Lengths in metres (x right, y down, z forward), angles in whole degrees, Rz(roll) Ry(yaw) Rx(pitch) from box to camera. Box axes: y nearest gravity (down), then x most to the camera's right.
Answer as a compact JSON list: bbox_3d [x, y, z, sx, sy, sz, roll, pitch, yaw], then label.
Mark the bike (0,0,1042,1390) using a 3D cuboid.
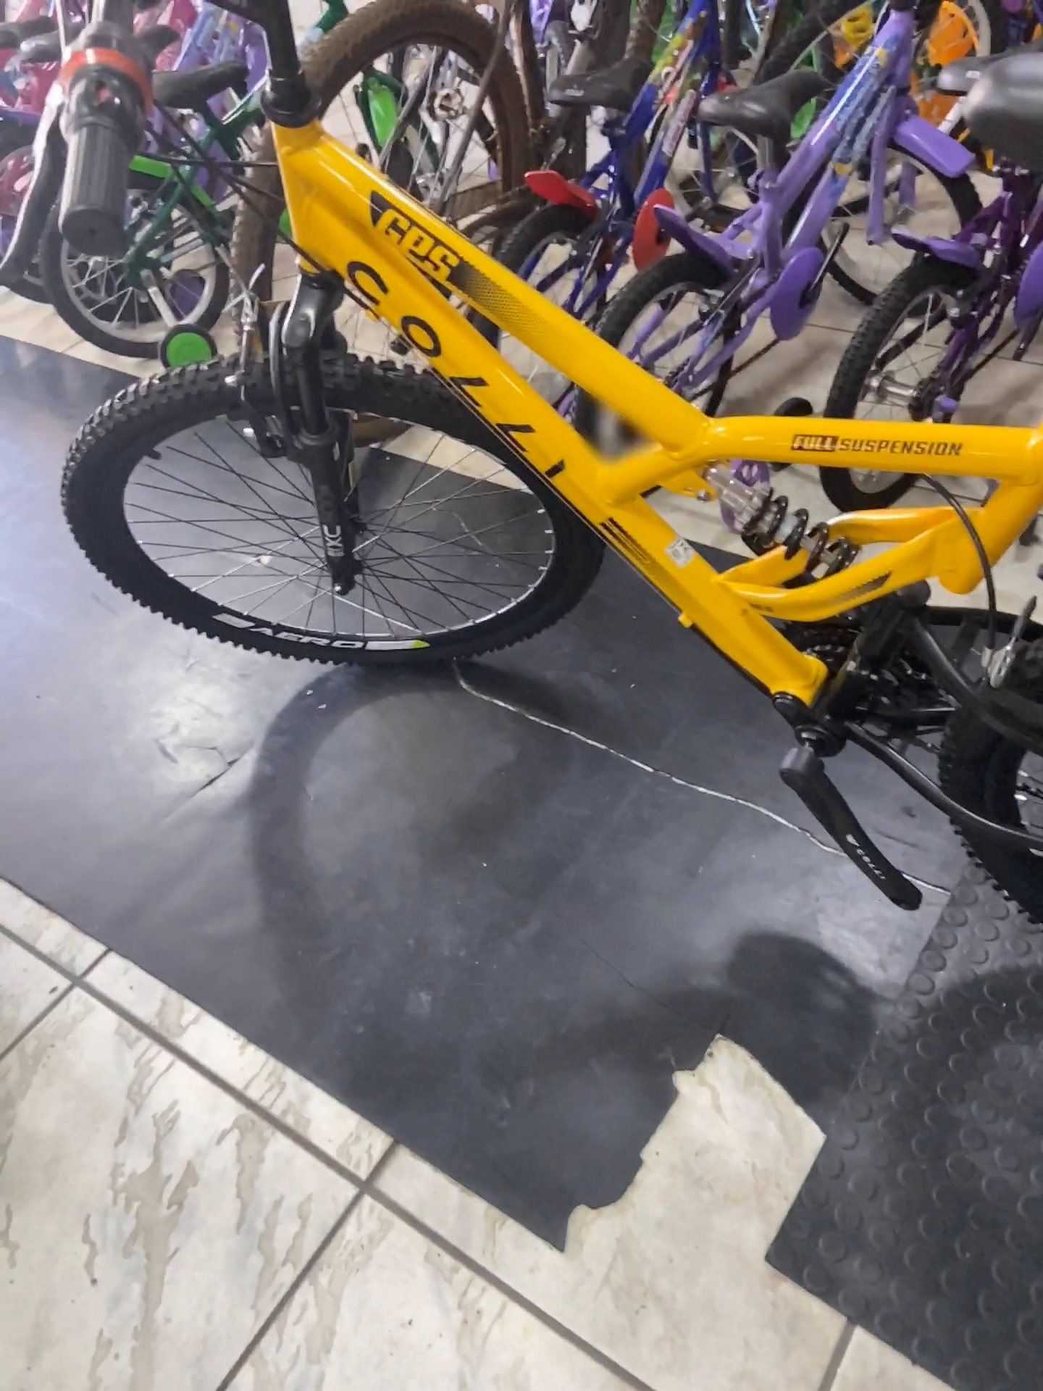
[{"bbox_3d":[0.152,-0.146,0.760,1.522,0.987,0.477,18,51,23],"label":"bike"}]
